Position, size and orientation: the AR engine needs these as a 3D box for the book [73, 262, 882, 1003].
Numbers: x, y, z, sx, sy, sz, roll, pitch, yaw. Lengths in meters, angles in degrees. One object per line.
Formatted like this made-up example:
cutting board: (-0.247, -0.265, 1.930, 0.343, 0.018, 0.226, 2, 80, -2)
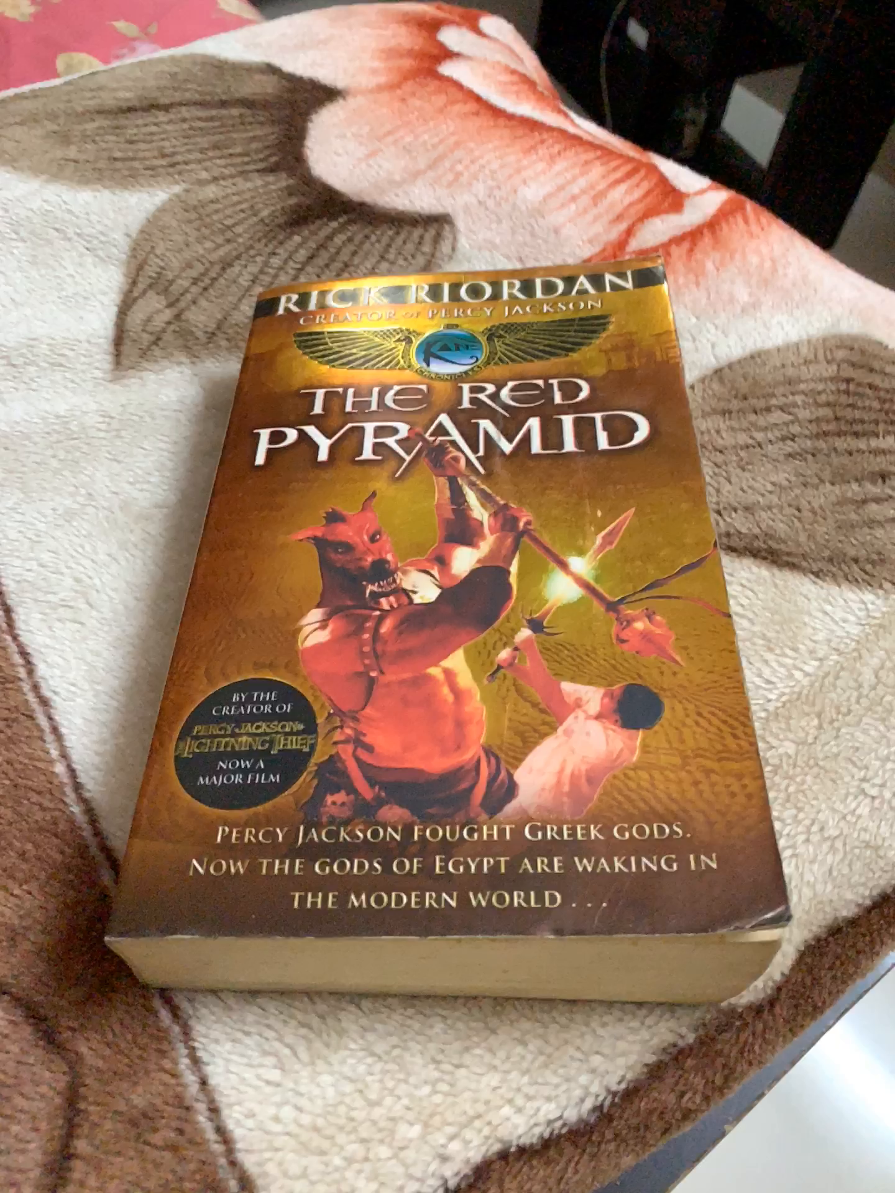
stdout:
book: (0.007, -0.011, 0.257, 0.150, 0.040, 0.221, 0, 52, 2)
